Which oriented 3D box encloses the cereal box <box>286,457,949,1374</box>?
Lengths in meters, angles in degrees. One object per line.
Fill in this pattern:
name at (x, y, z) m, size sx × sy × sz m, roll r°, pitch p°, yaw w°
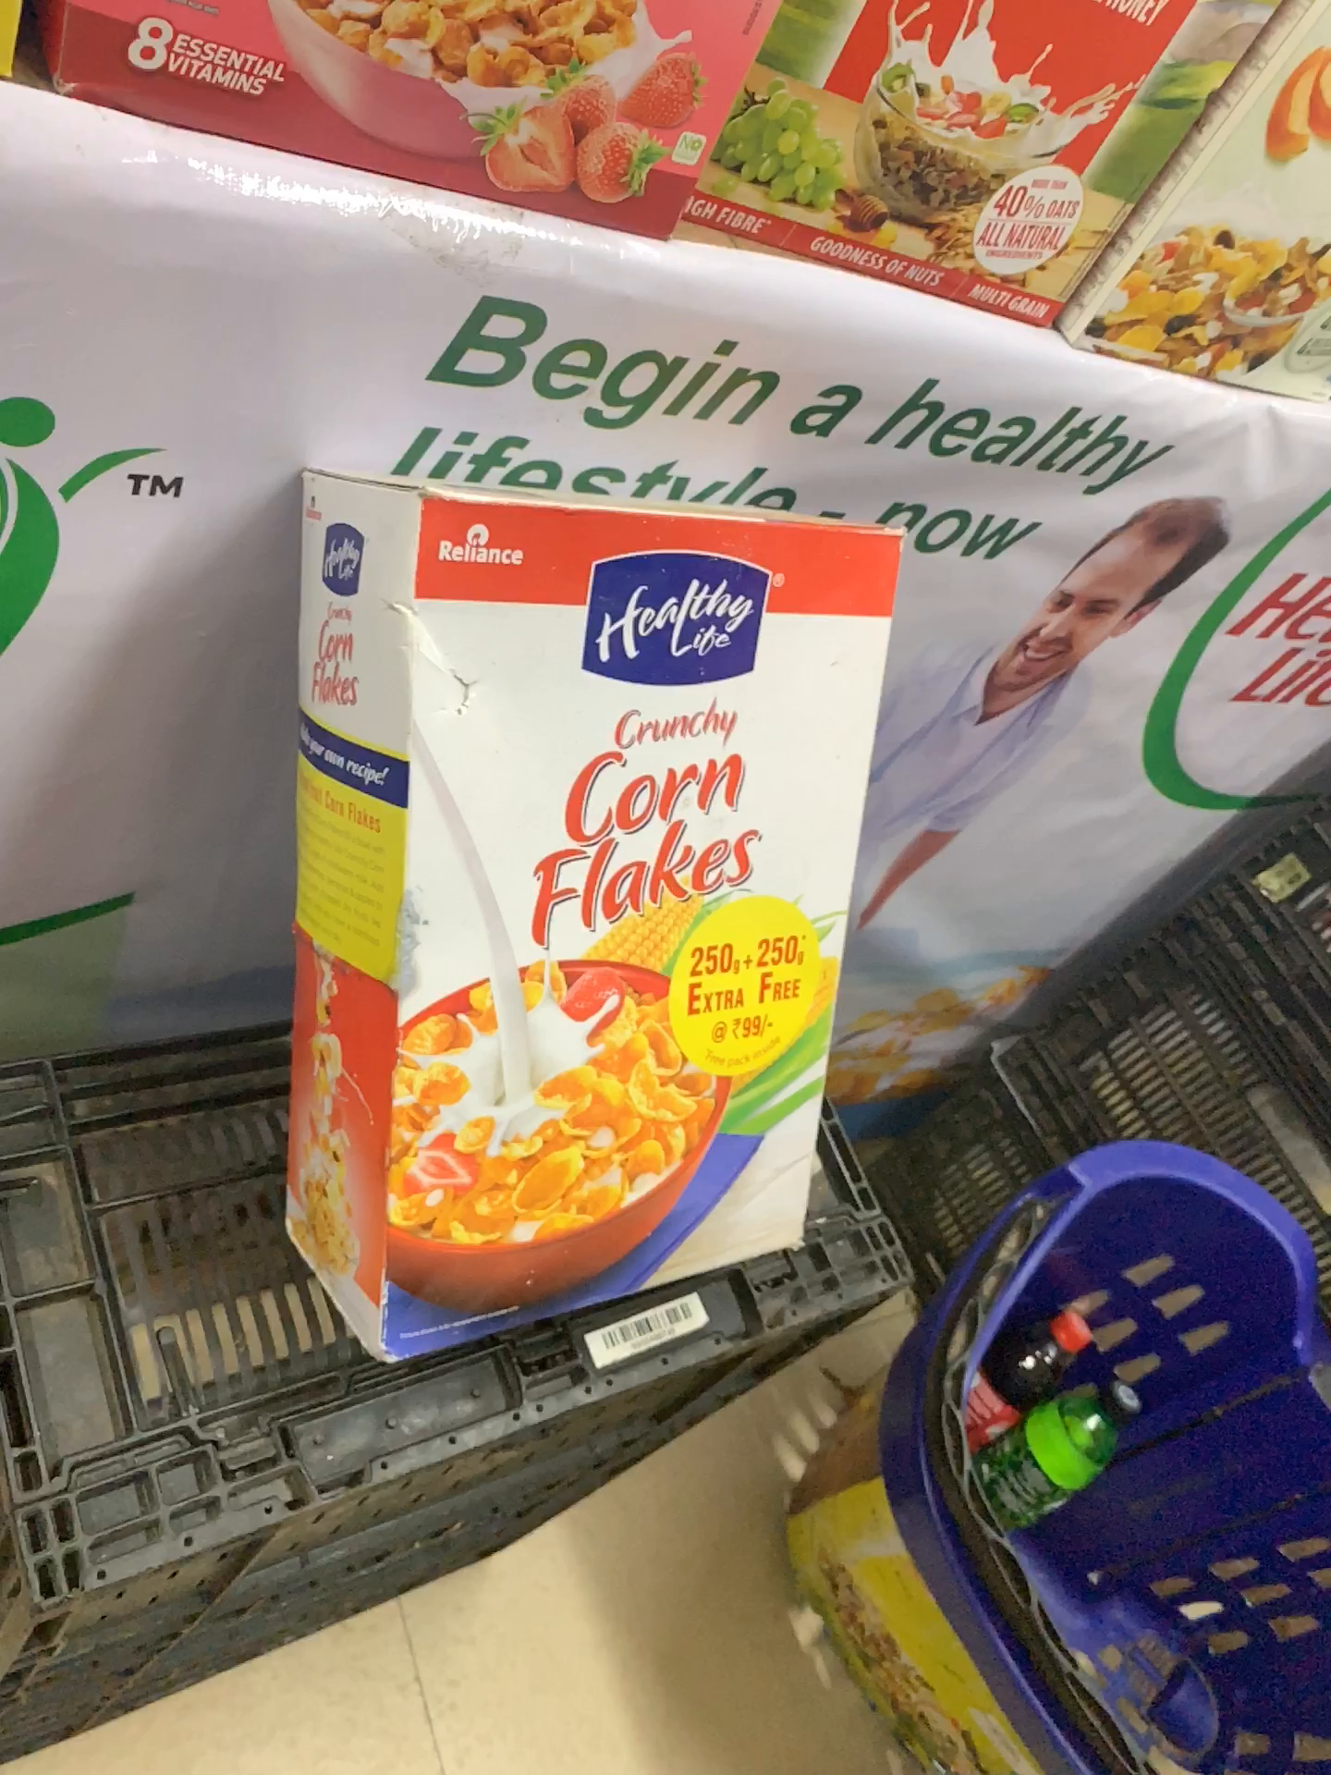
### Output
cereal box at (-0.022, 0.000, 0.498) m, size 0.201 × 0.280 × 0.100 m, roll -5°, pitch 16°, yaw -32°
